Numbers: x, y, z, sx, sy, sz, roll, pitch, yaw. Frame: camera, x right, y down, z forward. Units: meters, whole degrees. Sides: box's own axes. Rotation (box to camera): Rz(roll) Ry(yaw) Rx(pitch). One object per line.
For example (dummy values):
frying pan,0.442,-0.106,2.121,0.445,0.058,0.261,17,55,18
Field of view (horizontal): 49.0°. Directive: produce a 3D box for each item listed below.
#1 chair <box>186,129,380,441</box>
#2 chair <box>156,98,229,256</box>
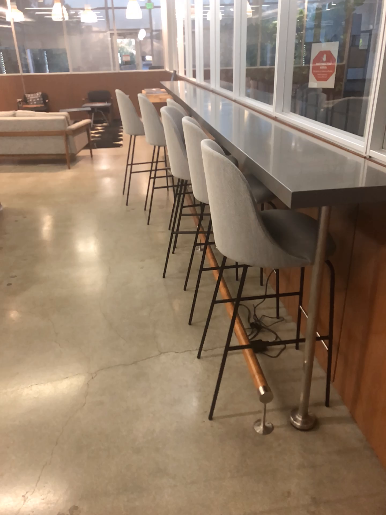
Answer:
chair,0.302,0.118,1.798,0.590,1.181,0.494,-4,25,-4
chair,-0.005,-0.874,4.542,0.621,1.489,0.715,-6,25,-9
